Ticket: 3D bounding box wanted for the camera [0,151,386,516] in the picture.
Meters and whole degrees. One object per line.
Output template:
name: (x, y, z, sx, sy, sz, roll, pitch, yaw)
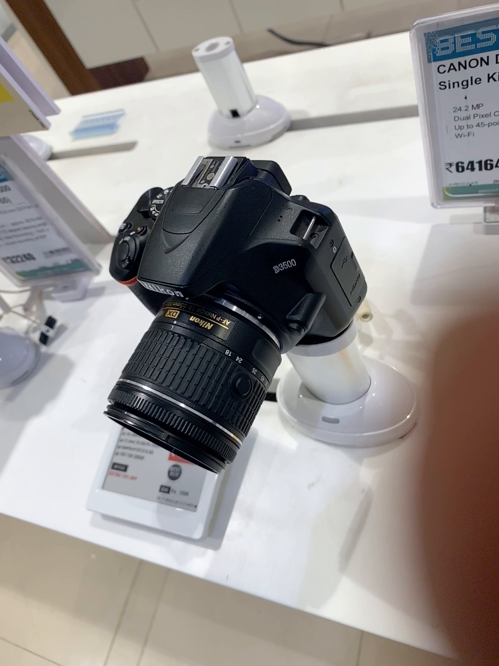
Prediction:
camera: (-0.019, -0.004, 0.221, 0.110, 0.090, 0.103, 14, 65, 32)
